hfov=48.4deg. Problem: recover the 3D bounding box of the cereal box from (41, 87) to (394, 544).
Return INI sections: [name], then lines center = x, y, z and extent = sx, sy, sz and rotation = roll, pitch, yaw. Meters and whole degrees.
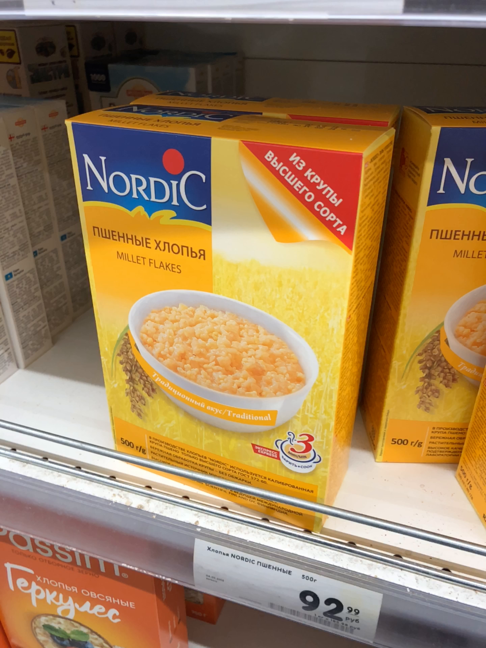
[cereal box]
center = -0.012, -0.004, 0.284
extent = 0.140, 0.209, 0.060
rotation = 14, 32, 22
